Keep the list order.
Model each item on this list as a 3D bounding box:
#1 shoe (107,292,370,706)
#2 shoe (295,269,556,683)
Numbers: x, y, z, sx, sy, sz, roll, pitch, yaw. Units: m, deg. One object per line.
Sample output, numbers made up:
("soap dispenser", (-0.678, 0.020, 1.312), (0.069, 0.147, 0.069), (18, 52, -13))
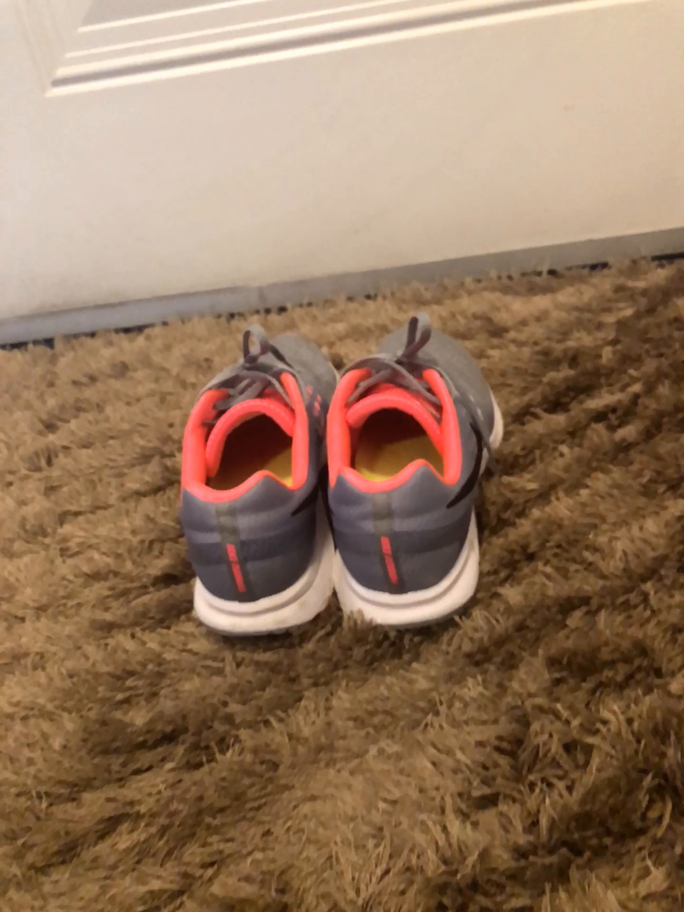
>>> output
("shoe", (-0.053, 0.009, 0.508), (0.113, 0.121, 0.271), (-7, 35, 3))
("shoe", (0.053, -0.006, 0.489), (0.118, 0.118, 0.271), (-4, 35, 7))
